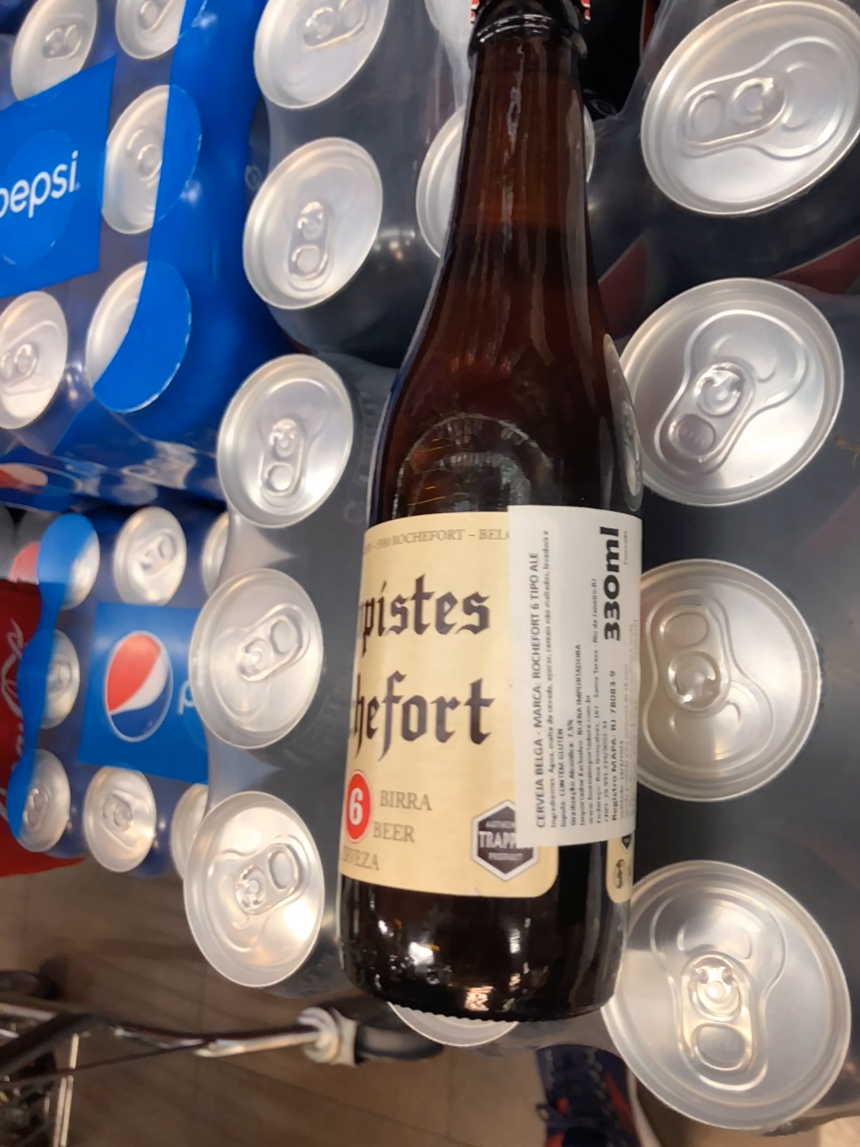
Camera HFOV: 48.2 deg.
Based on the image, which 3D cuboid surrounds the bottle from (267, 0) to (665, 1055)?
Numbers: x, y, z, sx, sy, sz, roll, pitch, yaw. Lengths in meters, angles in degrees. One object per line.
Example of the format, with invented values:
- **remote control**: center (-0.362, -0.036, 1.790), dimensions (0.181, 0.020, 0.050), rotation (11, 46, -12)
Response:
- **bottle**: center (0.012, -0.037, 0.209), dimensions (0.060, 0.050, 0.240), rotation (-3, 81, 33)
